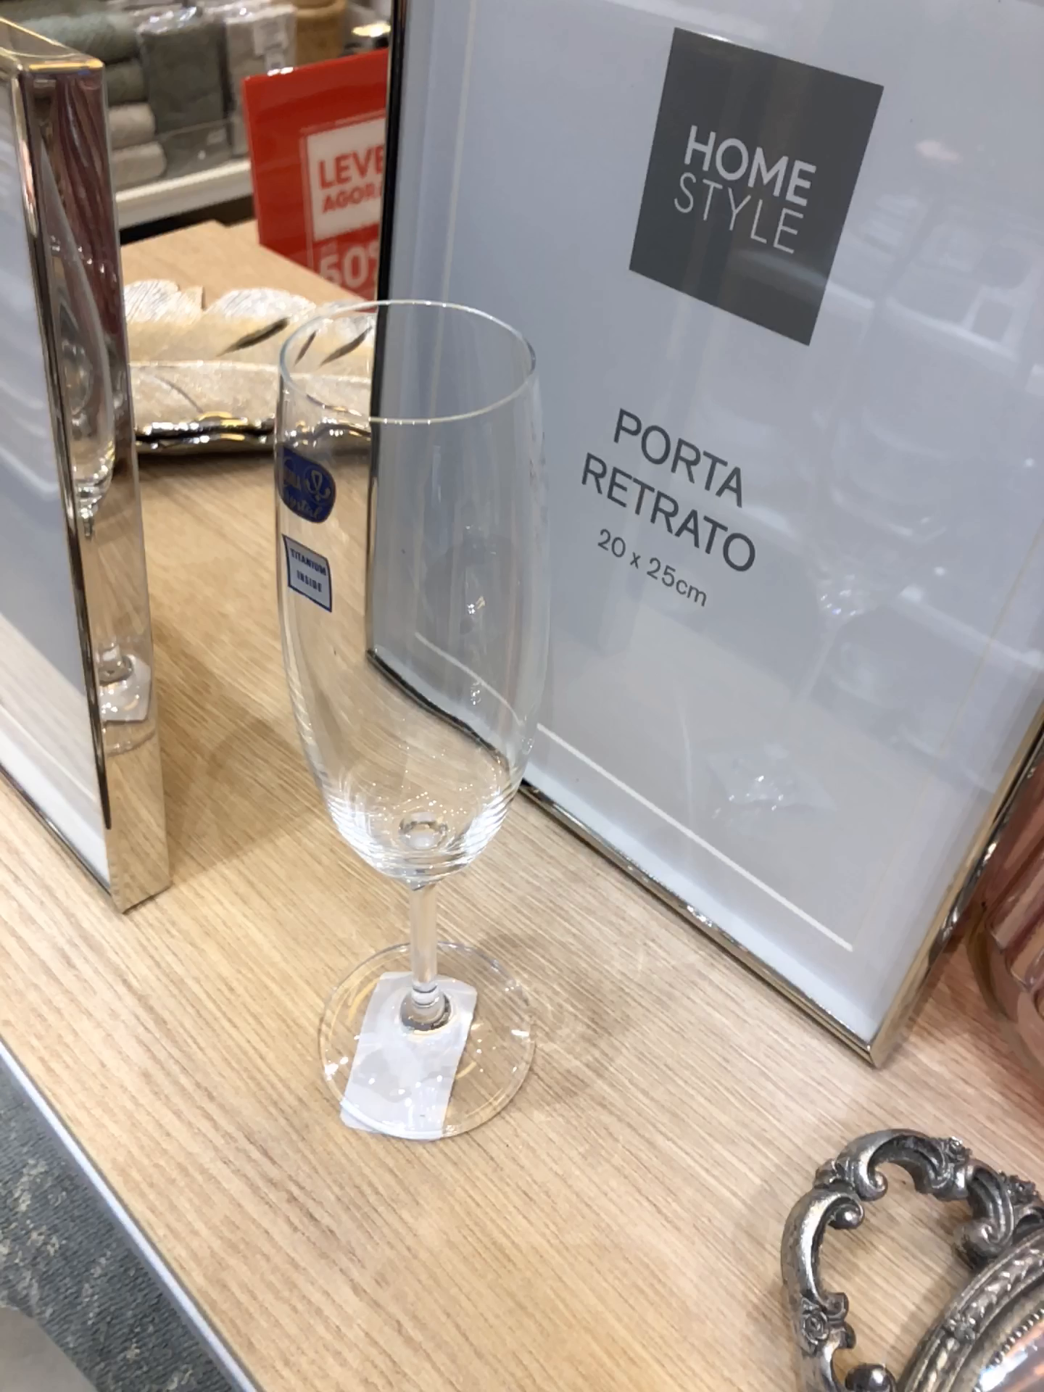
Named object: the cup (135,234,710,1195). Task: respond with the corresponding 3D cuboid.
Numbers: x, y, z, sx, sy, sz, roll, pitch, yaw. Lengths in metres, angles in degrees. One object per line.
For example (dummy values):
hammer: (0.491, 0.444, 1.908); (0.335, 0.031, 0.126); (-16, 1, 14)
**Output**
cup: (-0.021, 0.020, 0.274); (0.070, 0.218, 0.070); (2, 42, -2)
